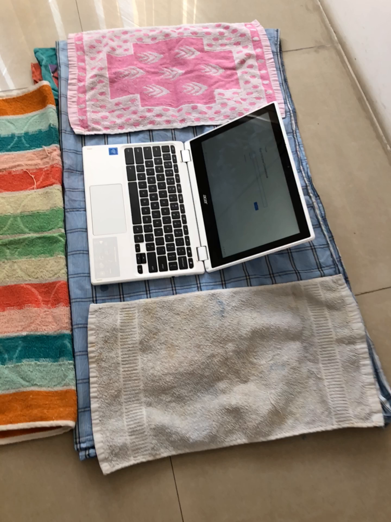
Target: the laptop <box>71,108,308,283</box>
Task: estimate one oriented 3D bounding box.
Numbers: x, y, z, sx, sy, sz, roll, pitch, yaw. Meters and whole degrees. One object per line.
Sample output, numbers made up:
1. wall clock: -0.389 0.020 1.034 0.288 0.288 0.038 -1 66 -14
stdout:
1. laptop: -0.018 -0.127 0.789 0.367 0.101 0.286 -6 68 -9
